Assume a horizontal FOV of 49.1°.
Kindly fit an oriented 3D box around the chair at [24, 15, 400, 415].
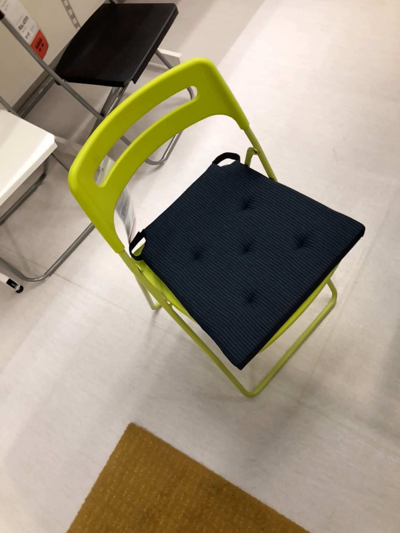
[{"bbox_3d":[0.083,-0.059,0.996,0.461,0.637,0.491,38,77,26],"label":"chair"}]
